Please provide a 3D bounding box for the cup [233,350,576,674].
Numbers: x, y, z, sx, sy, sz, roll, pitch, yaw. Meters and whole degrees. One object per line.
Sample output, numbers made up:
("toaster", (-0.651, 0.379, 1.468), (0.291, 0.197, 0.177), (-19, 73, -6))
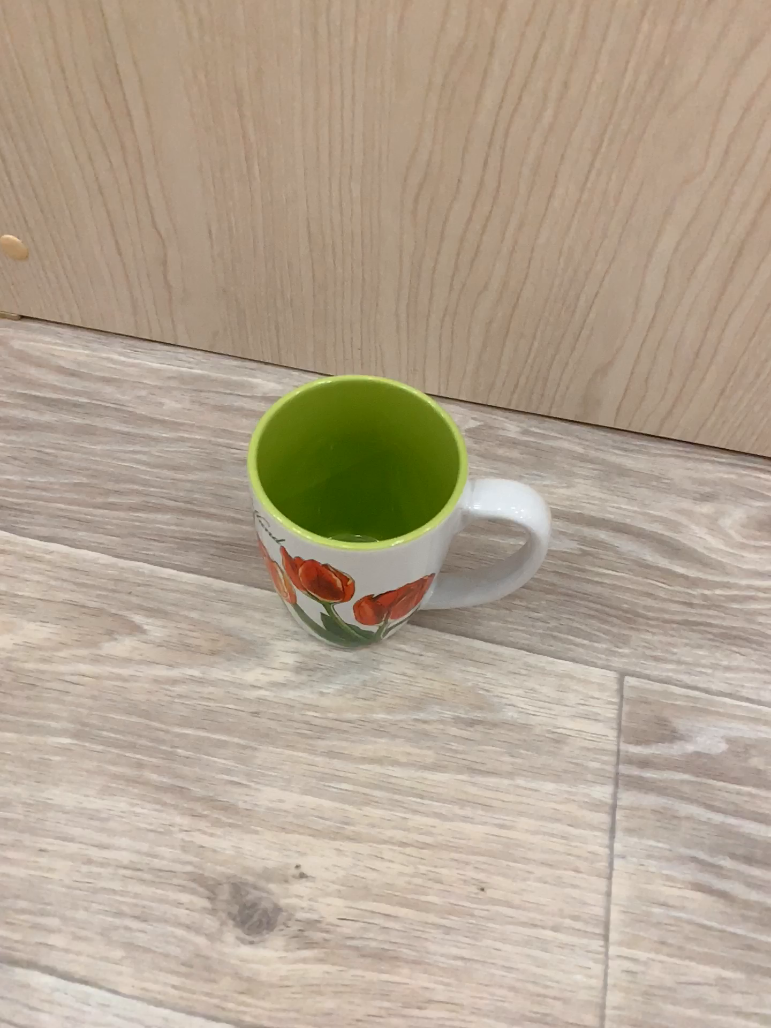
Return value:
("cup", (0.007, 0.003, 0.338), (0.118, 0.101, 0.084), (6, 55, 0))
